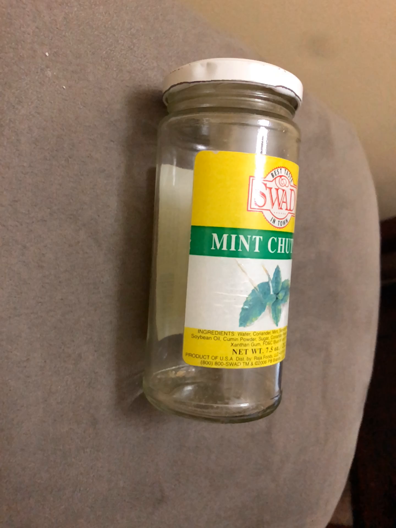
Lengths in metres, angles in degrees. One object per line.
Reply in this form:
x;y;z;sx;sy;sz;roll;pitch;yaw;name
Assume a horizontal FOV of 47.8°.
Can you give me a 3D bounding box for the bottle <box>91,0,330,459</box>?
0.002;-0.011;0.172;0.060;0.059;0.137;1;94;-36;bottle
